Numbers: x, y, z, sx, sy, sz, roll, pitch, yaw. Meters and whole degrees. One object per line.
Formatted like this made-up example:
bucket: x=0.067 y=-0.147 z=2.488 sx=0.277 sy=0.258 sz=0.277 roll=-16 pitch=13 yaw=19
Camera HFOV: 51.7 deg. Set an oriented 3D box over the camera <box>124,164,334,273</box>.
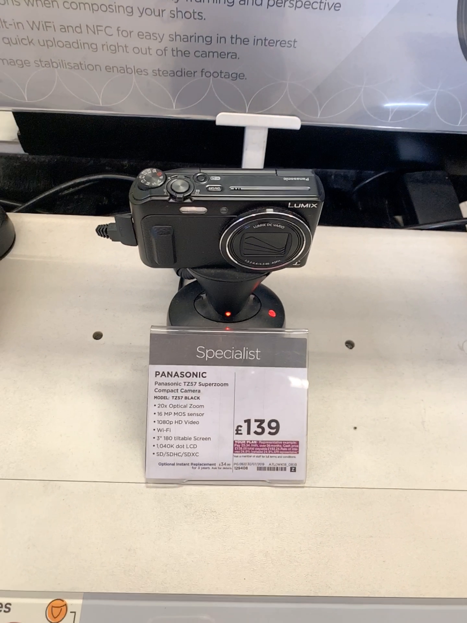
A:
camera: x=-0.004 y=-0.053 z=0.288 sx=0.111 sy=0.060 sz=0.030 roll=-1 pitch=57 yaw=-4
